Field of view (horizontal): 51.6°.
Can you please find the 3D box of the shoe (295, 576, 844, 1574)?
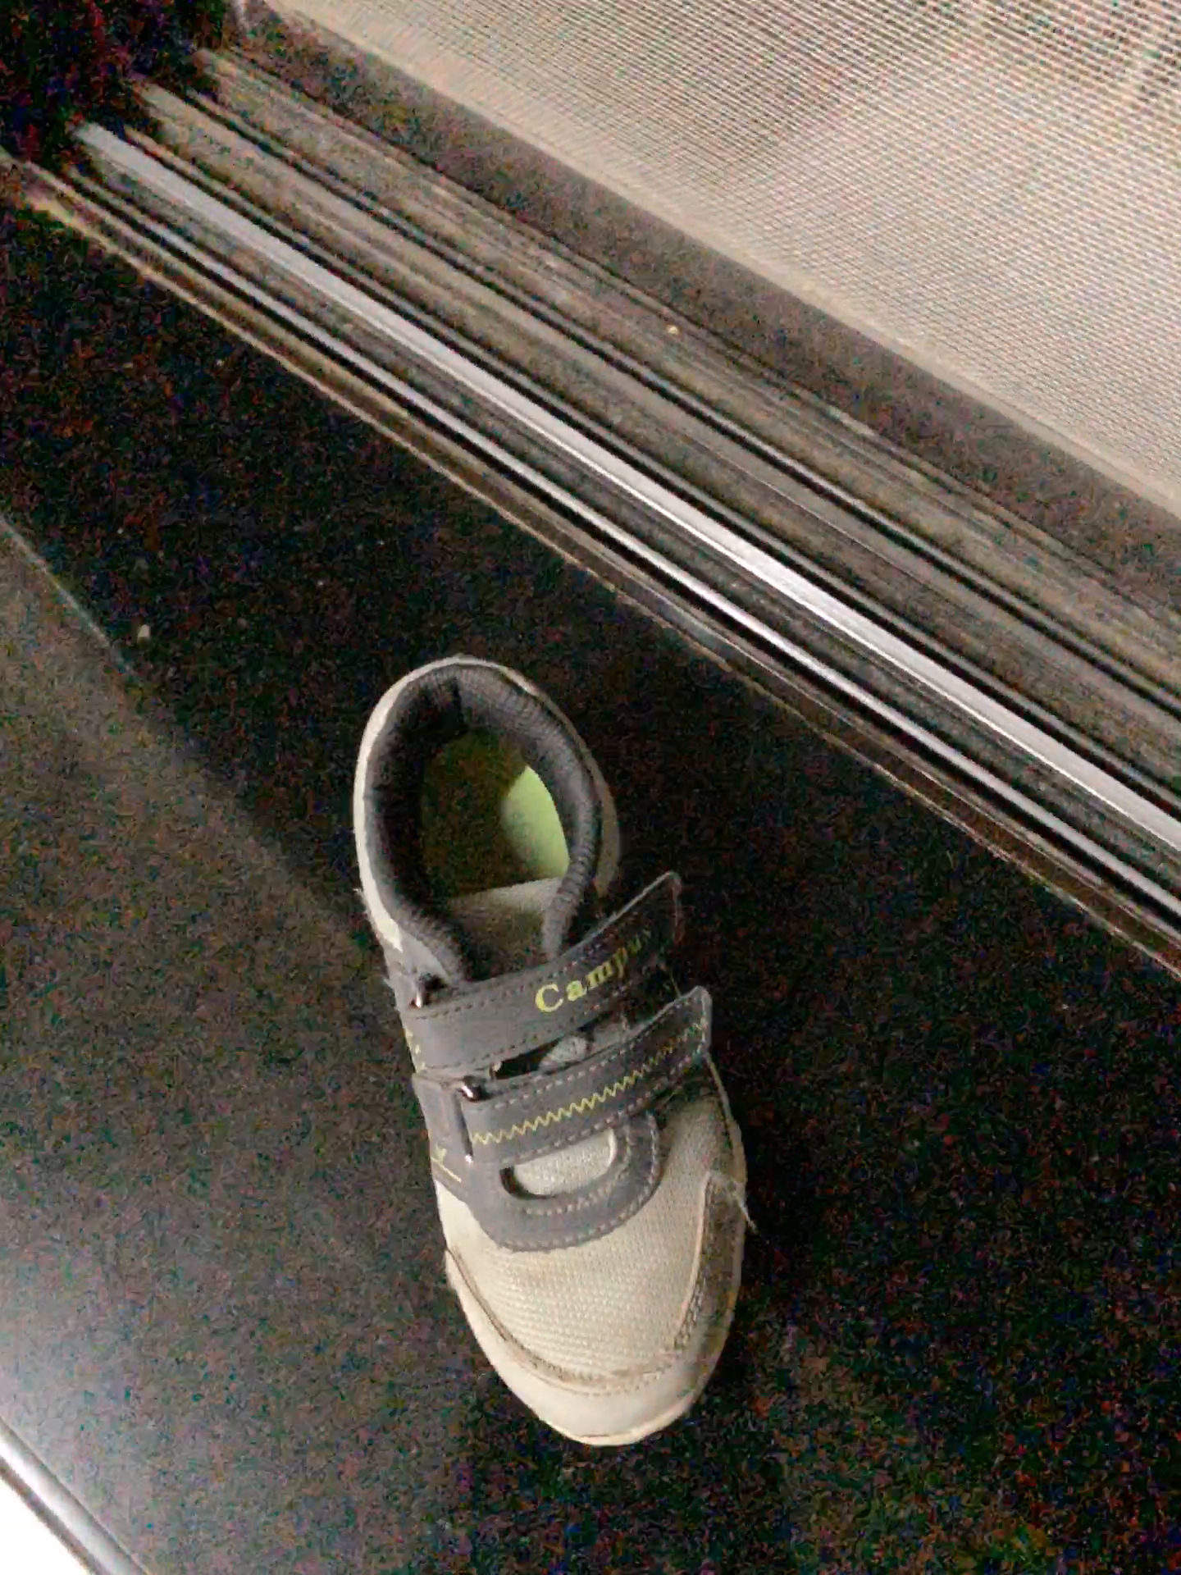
[{"bbox_3d":[-0.012,0.069,0.341,0.090,0.080,0.231,-13,69,-2],"label":"shoe"}]
